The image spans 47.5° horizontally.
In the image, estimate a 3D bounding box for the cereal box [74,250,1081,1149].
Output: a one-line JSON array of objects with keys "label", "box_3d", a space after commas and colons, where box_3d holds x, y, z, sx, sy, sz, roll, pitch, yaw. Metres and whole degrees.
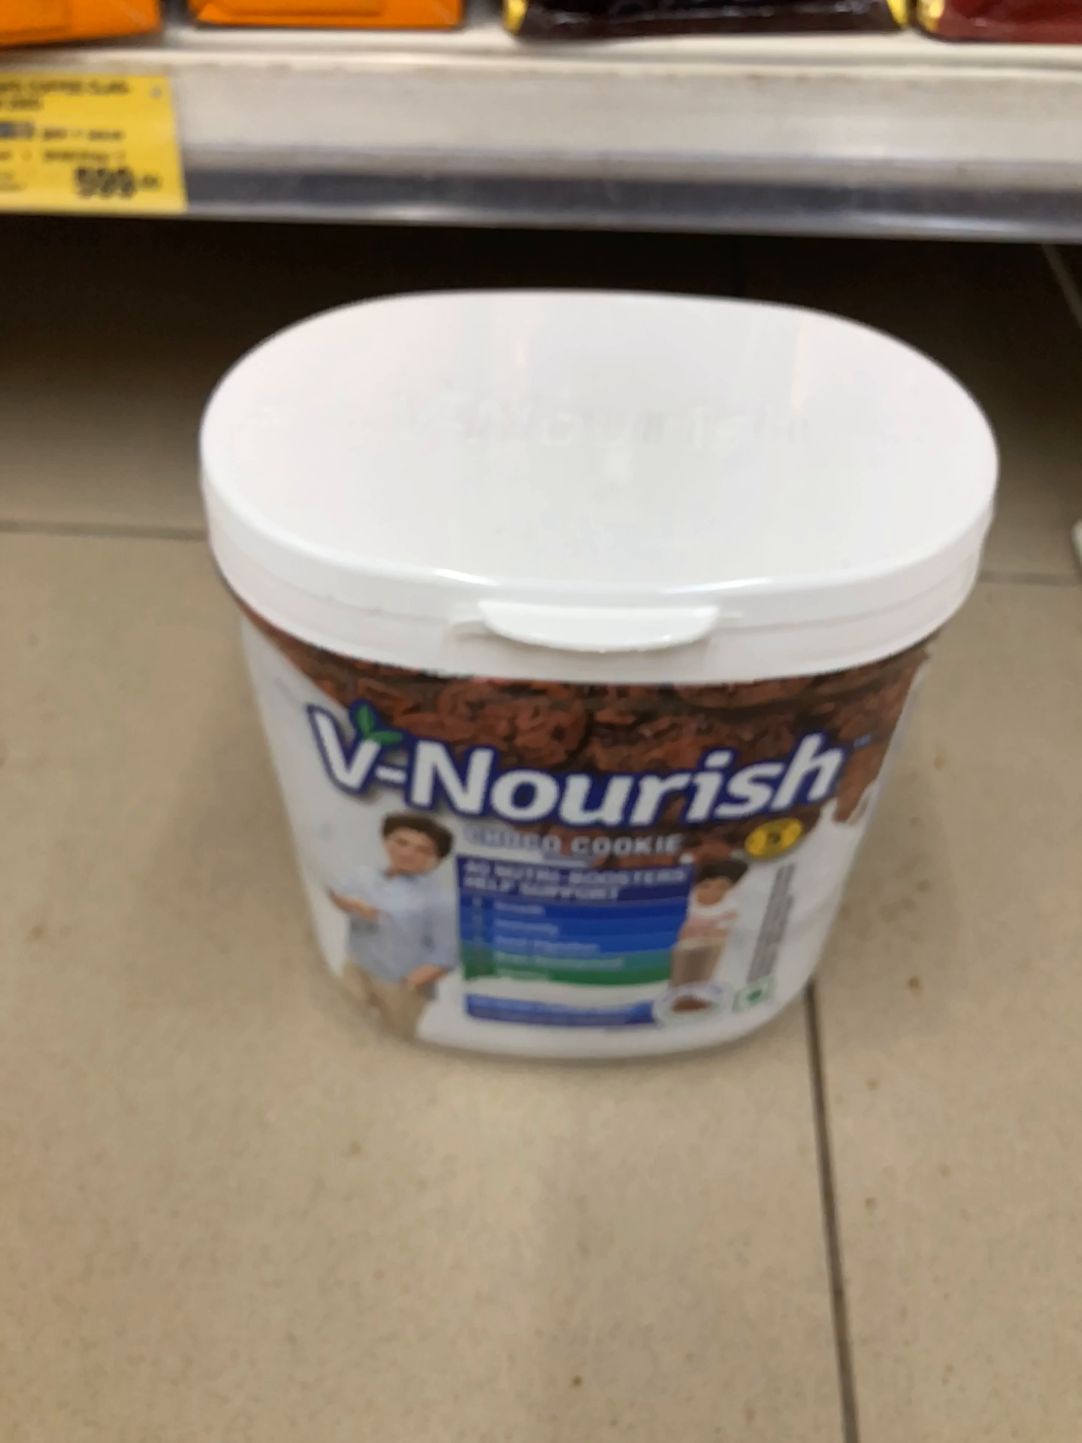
[{"label": "cereal box", "box_3d": [0.010, 0.002, 0.249, 0.140, 0.149, 0.101, 2, 46, 1]}]
